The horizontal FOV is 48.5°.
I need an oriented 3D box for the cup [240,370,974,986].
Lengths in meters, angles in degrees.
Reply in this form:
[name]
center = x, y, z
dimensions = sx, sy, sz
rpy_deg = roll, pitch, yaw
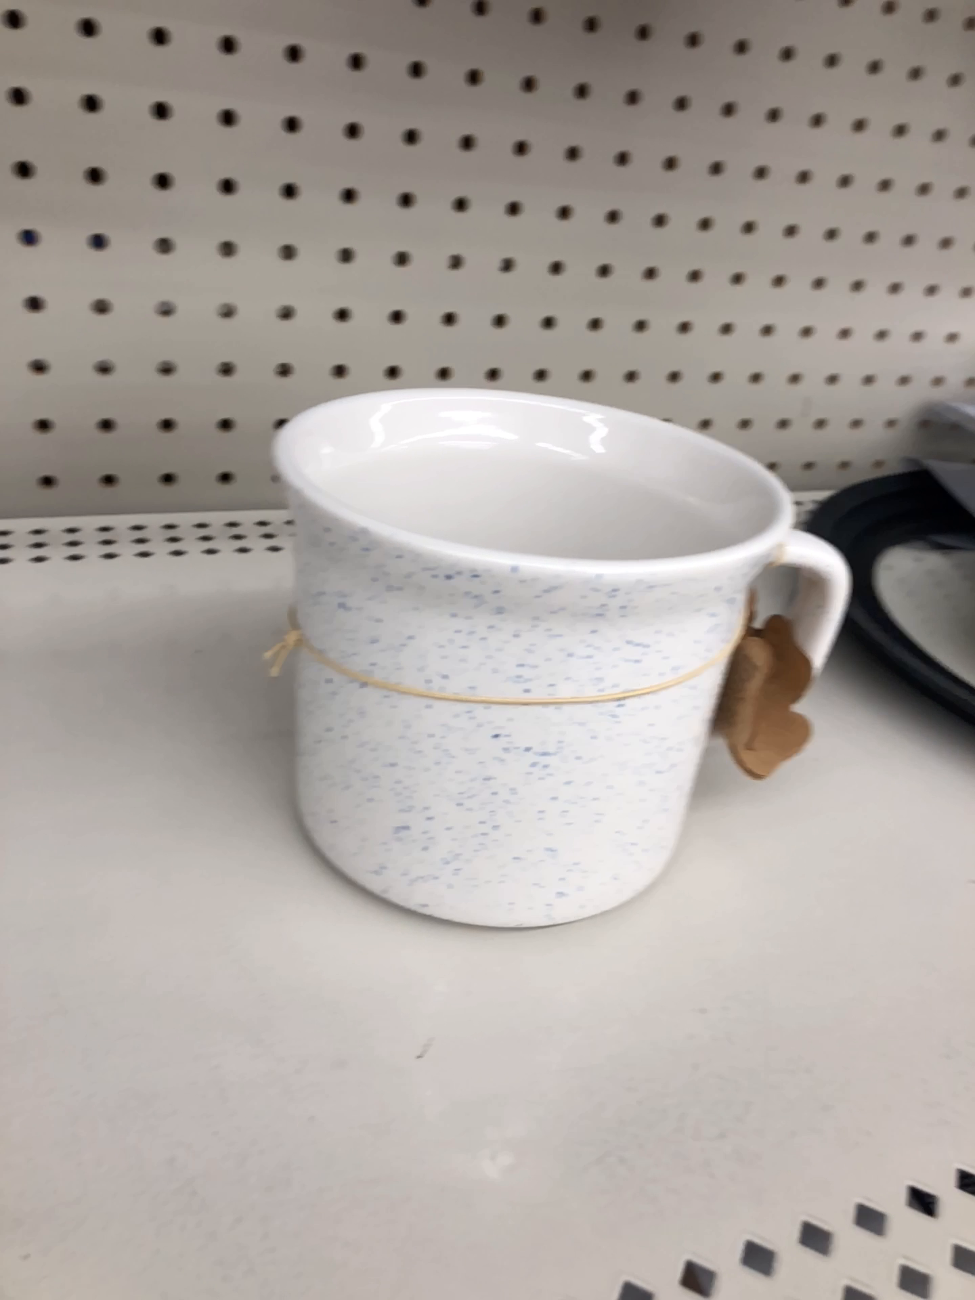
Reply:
[cup]
center = 0.033, -0.008, 0.261
dimensions = 0.160, 0.090, 0.102
rpy_deg = -7, 32, -25
